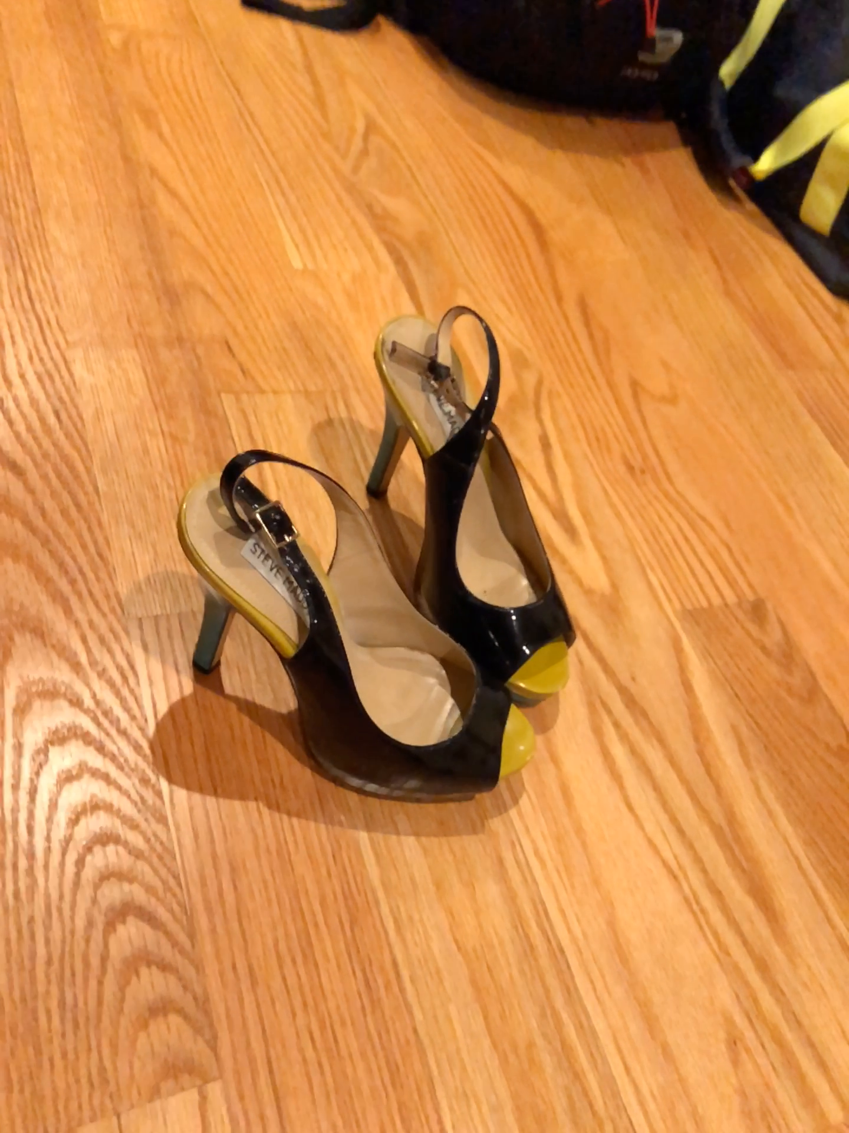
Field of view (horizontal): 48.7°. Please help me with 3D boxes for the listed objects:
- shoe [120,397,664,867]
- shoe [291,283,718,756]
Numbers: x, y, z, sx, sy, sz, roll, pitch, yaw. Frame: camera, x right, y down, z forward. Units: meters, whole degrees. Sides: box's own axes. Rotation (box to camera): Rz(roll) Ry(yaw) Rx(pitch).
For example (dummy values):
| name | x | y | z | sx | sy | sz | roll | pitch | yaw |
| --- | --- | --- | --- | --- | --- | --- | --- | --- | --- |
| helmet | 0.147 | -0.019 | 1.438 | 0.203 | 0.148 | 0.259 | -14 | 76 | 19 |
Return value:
| name | x | y | z | sx | sy | sz | roll | pitch | yaw |
| --- | --- | --- | --- | --- | --- | --- | --- | --- | --- |
| shoe | -0.018 | 0.037 | 0.424 | 0.201 | 0.131 | 0.085 | 24 | 49 | -5 |
| shoe | 0.029 | -0.028 | 0.495 | 0.085 | 0.121 | 0.204 | -21 | 65 | -34 |
